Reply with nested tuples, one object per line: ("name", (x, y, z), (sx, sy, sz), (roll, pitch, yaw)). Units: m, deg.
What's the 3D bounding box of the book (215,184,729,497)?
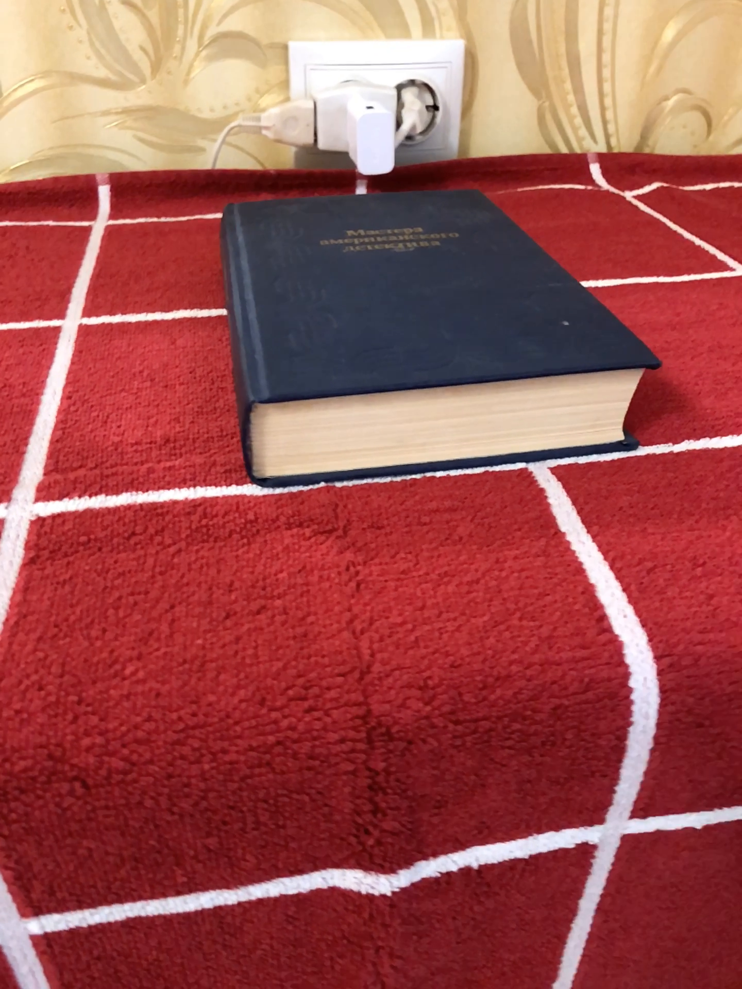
("book", (0.017, -0.075, 0.318), (0.143, 0.030, 0.194), (-6, 36, -9))
